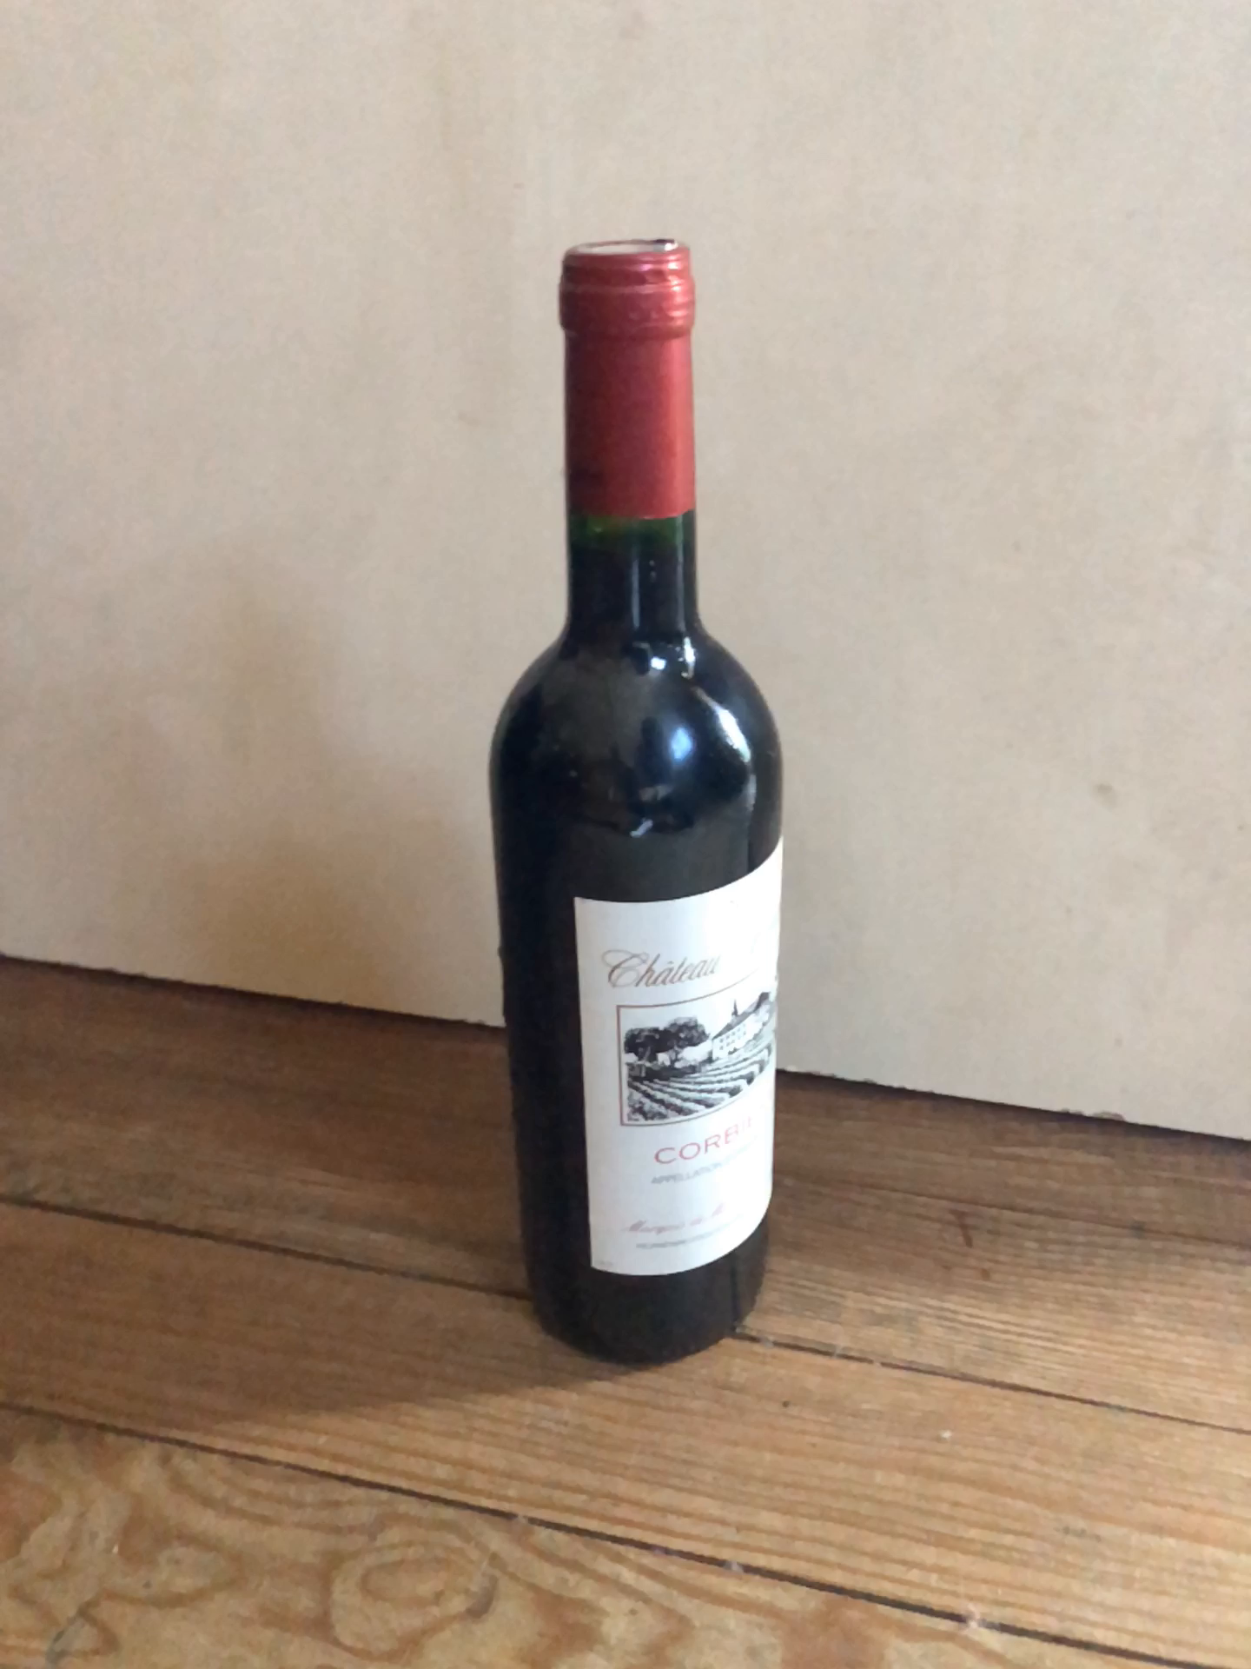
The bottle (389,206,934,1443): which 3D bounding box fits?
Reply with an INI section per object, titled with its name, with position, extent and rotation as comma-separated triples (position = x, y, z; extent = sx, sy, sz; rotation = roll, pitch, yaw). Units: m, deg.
[bottle]
position = 0.009, 0.009, 0.342
extent = 0.080, 0.288, 0.070
rotation = -27, 39, -37
